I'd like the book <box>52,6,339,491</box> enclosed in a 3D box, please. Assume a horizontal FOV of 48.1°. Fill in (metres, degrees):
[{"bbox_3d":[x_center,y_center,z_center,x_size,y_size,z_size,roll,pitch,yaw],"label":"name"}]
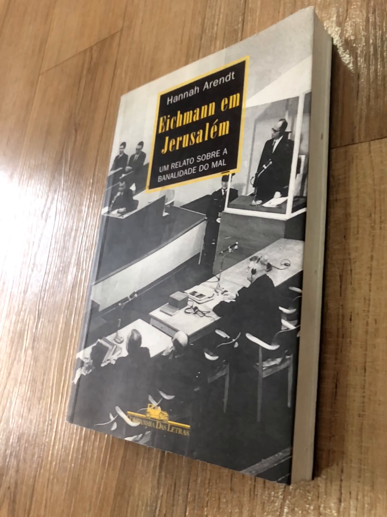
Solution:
[{"bbox_3d":[-0.002,-0.009,0.227,0.141,0.030,0.200,-4,73,38],"label":"book"}]
